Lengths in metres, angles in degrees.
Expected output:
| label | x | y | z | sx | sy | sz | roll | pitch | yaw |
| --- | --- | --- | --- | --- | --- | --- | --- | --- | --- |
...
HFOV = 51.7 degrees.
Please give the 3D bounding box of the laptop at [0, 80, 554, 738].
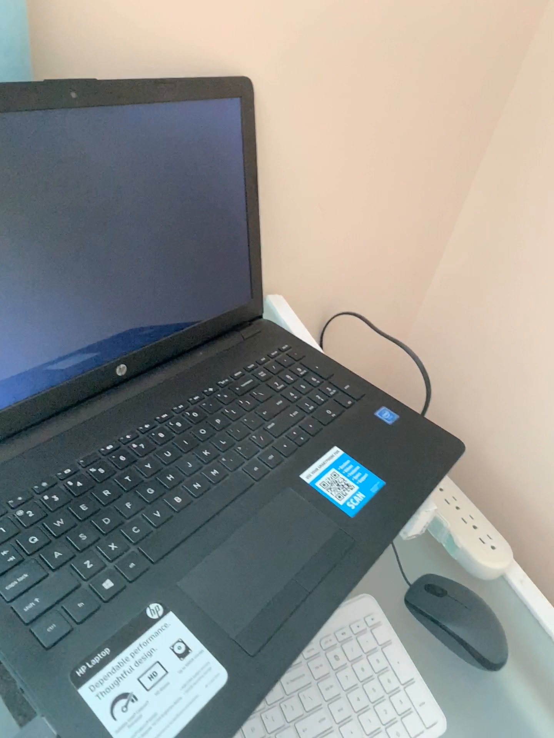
| label | x | y | z | sx | sy | sz | roll | pitch | yaw |
| --- | --- | --- | --- | --- | --- | --- | --- | --- | --- |
| laptop | -0.041 | -0.024 | 0.379 | 0.307 | 0.222 | 0.366 | 33 | 40 | 24 |
